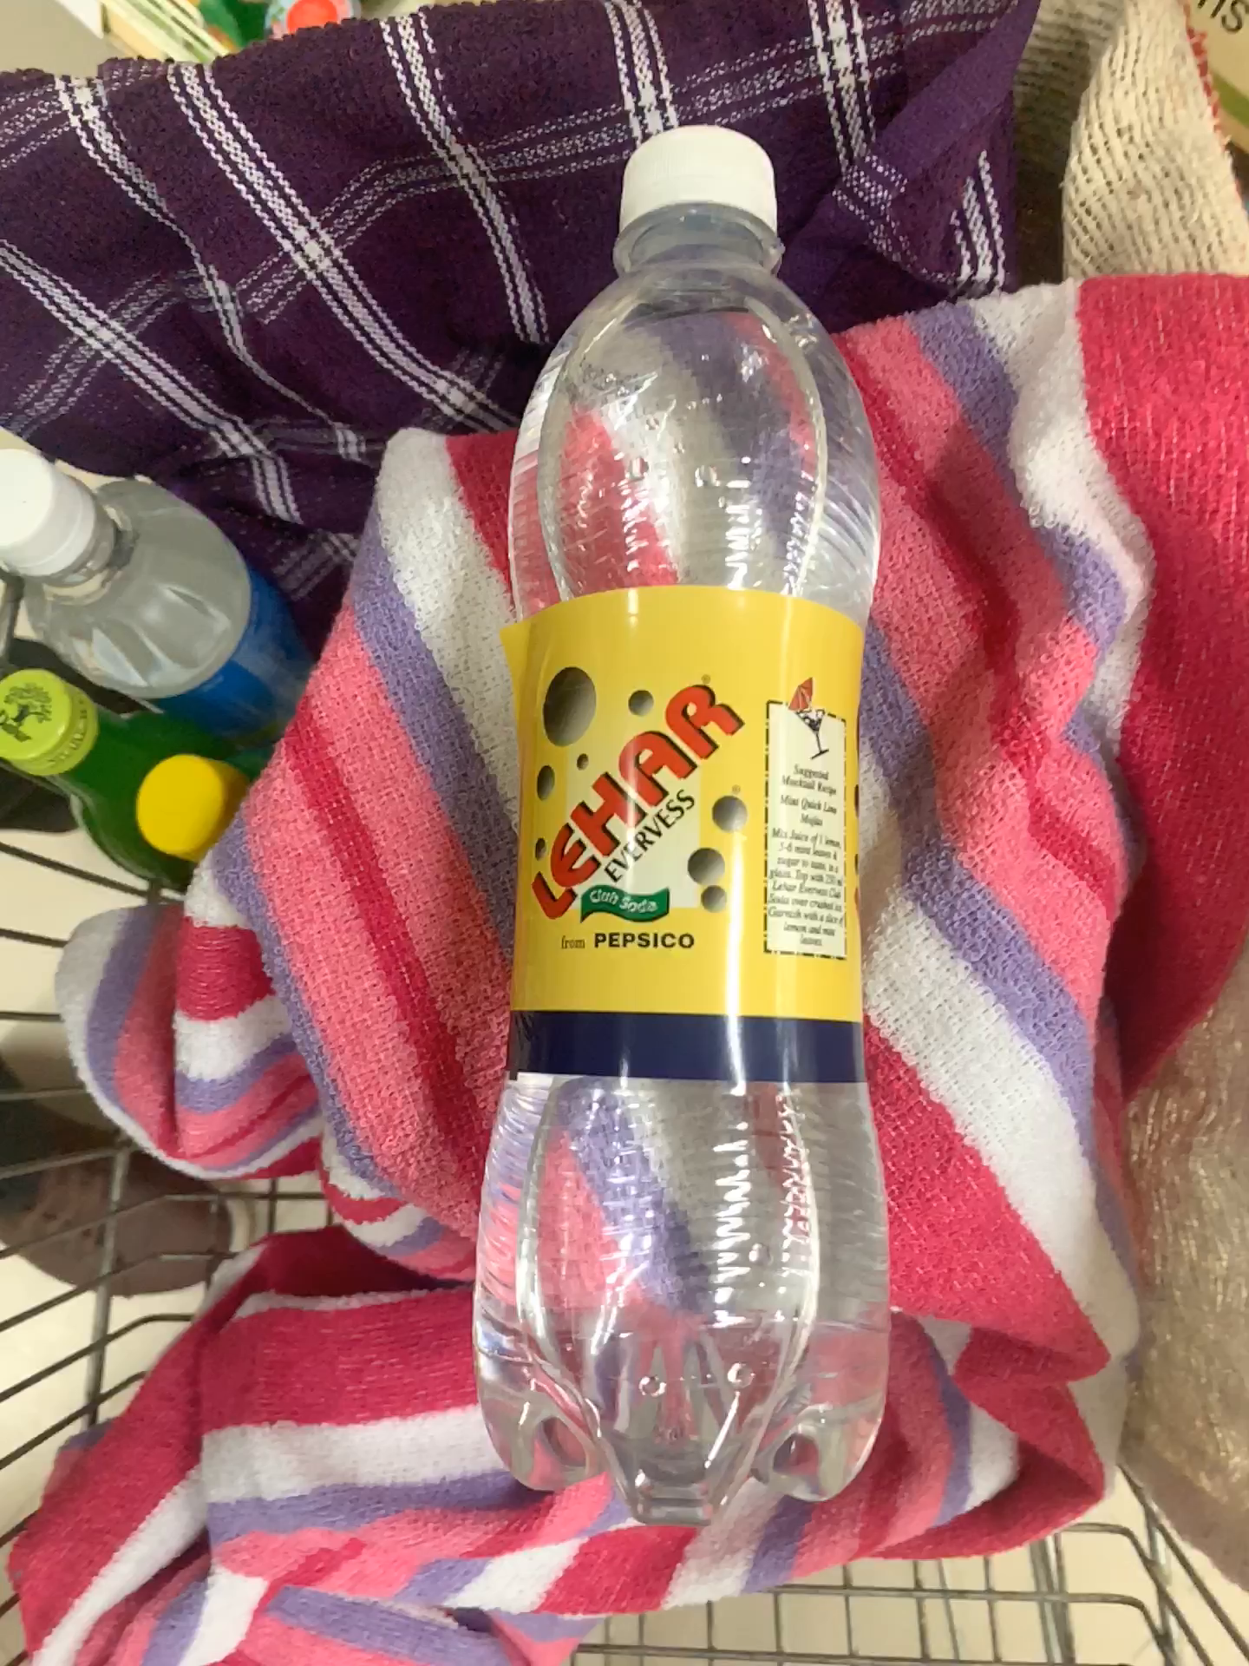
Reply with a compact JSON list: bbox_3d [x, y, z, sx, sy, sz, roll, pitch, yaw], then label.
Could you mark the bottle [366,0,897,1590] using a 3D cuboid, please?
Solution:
[{"bbox_3d":[0.007,-0.017,0.222,0.070,0.070,0.240,0,80,9],"label":"bottle"}]
